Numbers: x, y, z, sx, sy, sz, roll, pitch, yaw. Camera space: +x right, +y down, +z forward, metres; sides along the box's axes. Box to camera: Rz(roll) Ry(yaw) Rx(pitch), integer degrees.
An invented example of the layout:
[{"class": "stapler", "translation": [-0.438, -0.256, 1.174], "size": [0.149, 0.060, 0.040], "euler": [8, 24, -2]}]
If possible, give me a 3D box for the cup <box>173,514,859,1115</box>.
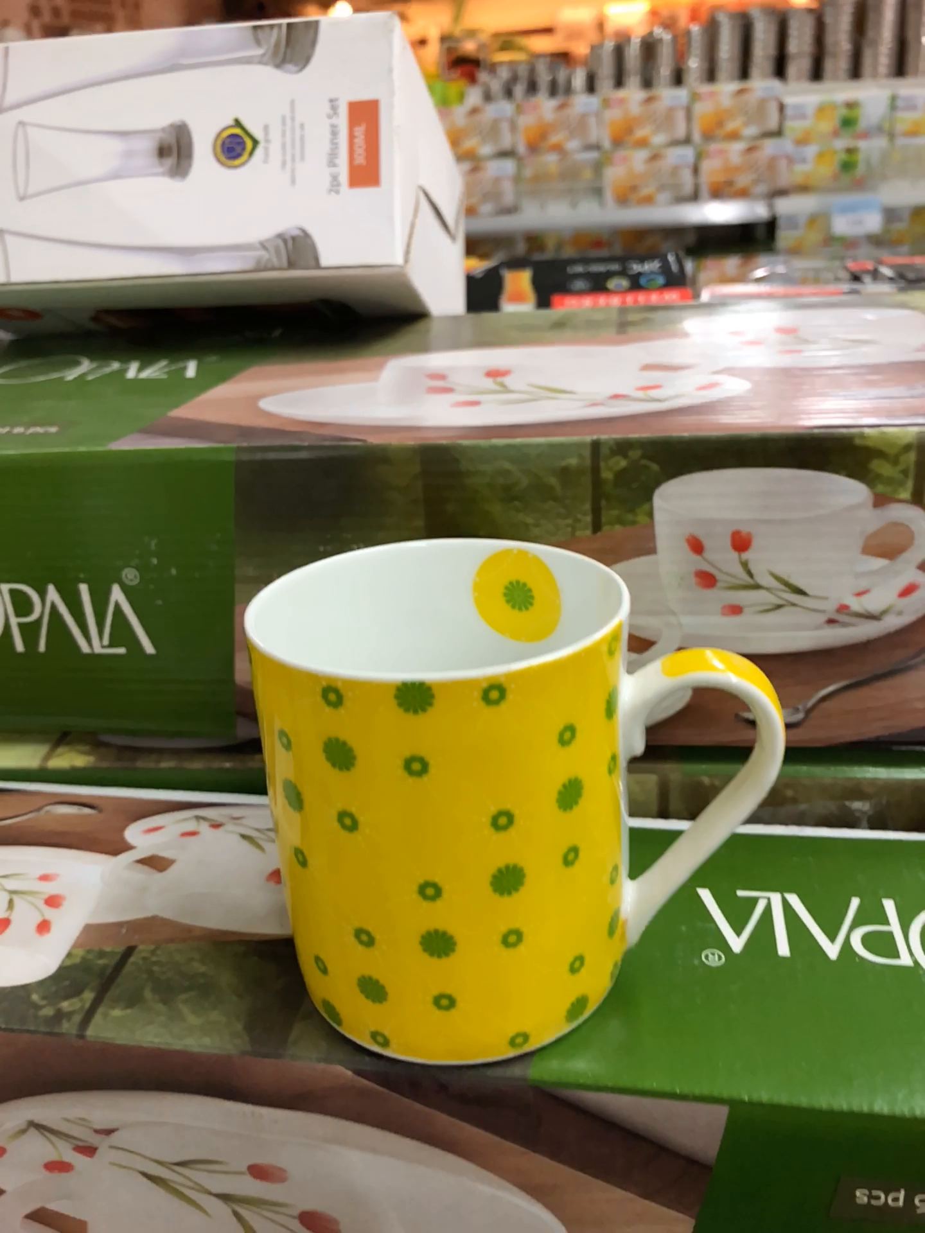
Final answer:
[{"class": "cup", "translation": [0.014, 0.034, 0.218], "size": [0.110, 0.090, 0.080], "euler": [0, 21, 9]}]
